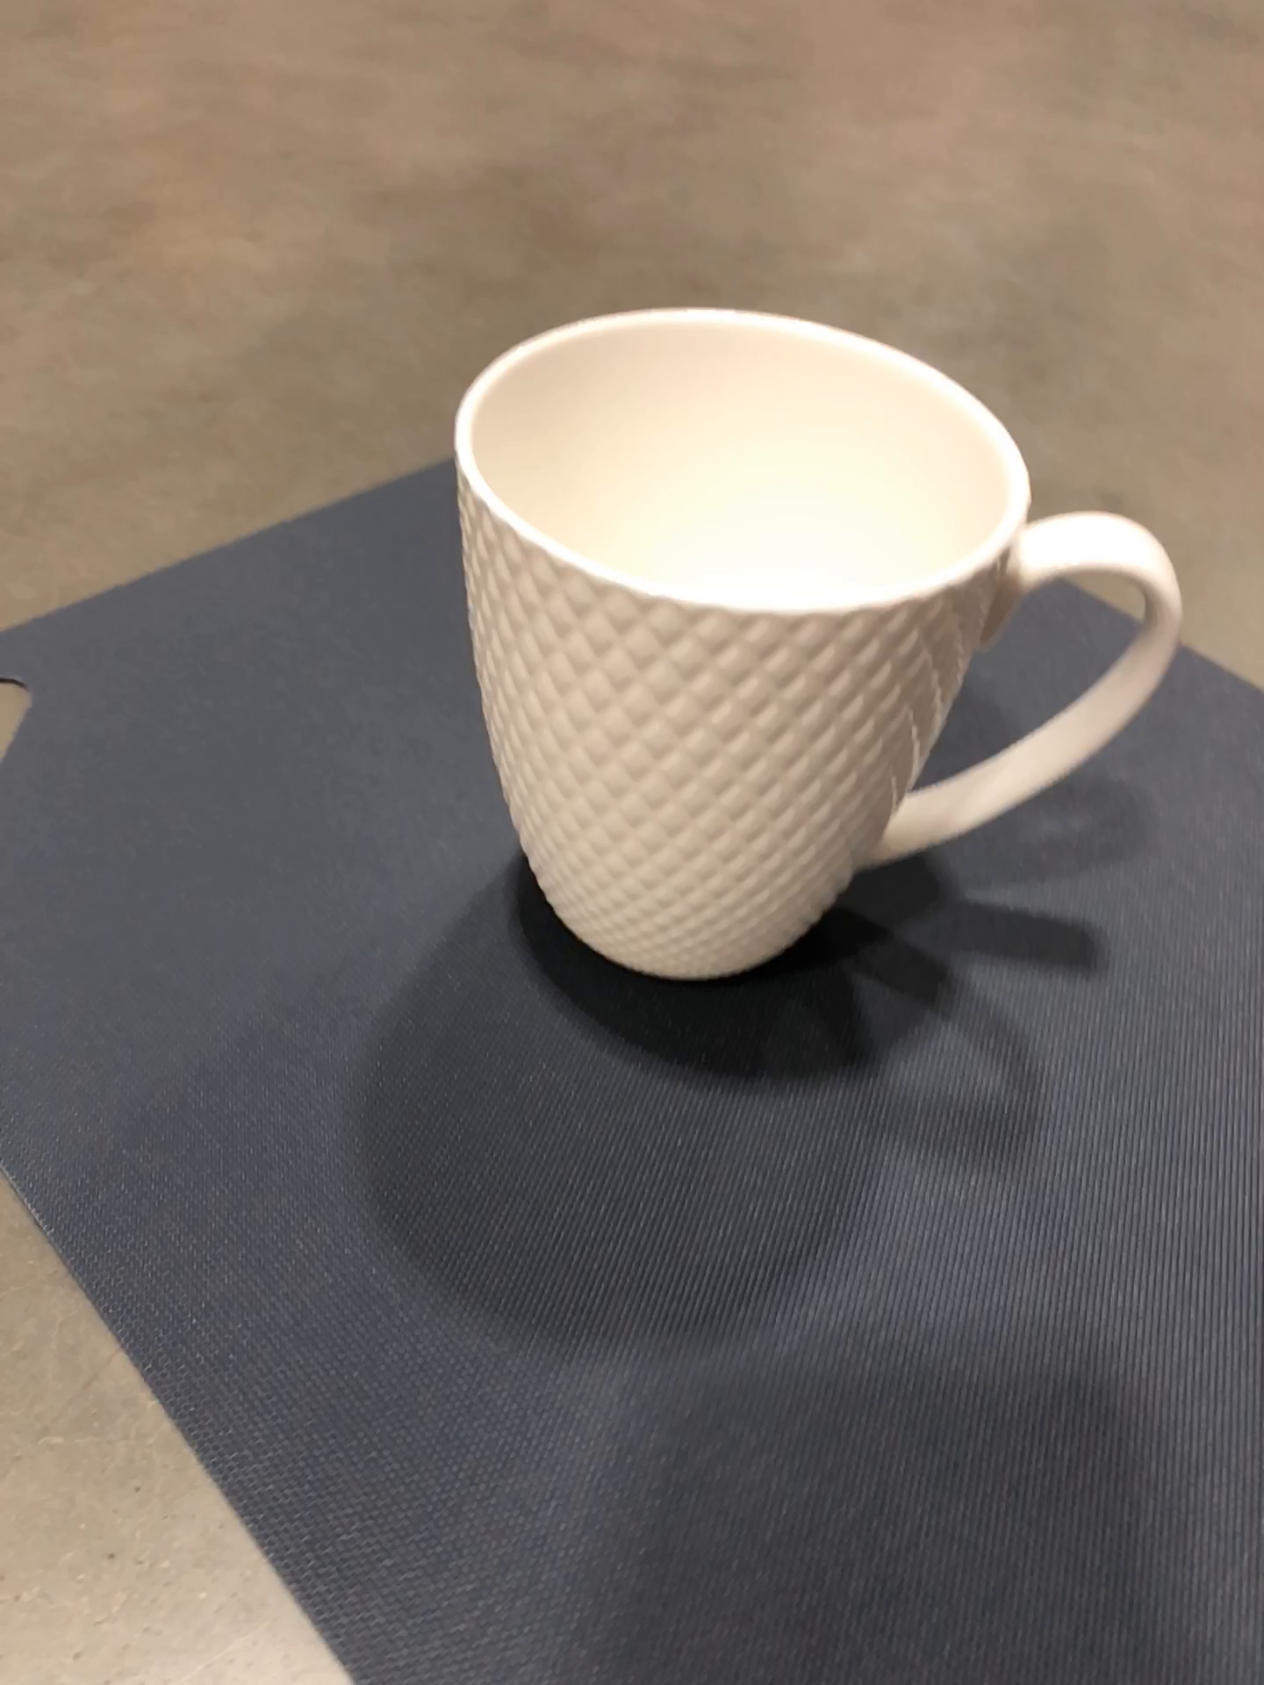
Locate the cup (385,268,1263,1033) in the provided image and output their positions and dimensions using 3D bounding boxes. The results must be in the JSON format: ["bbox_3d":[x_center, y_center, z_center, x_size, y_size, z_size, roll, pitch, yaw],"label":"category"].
[{"bbox_3d":[0.032,-0.036,0.260,0.130,0.090,0.090,7,44,2],"label":"cup"}]
